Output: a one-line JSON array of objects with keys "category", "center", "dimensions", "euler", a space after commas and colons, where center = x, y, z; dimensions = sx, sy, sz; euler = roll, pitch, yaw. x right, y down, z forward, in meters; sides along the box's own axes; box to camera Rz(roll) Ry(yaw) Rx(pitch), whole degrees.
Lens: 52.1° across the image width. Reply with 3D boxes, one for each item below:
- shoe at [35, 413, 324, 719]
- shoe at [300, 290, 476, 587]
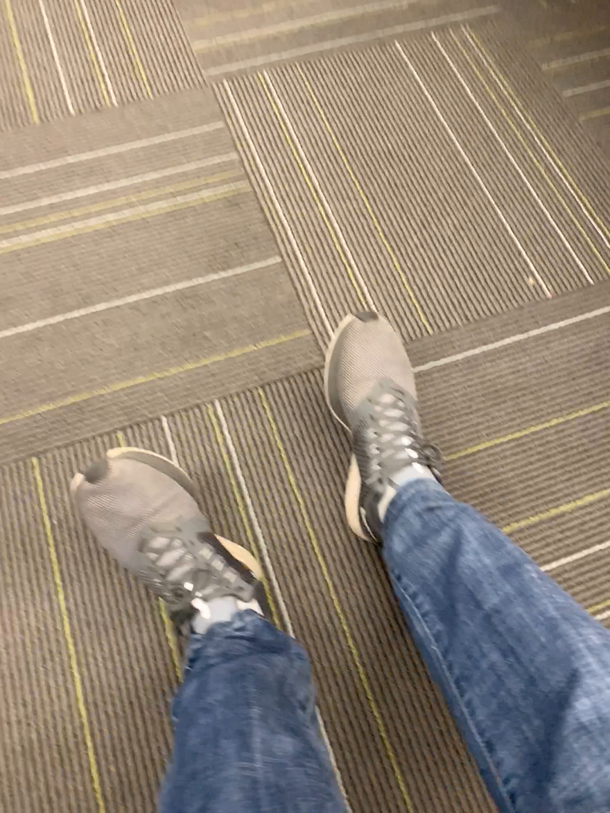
[{"category": "shoe", "center": [-0.114, 0.168, 0.625], "dimensions": [0.119, 0.294, 0.122], "euler": [-37, 38, -8]}, {"category": "shoe", "center": [0.092, 0.028, 0.704], "dimensions": [0.119, 0.122, 0.294], "euler": [-13, 104, -13]}]
